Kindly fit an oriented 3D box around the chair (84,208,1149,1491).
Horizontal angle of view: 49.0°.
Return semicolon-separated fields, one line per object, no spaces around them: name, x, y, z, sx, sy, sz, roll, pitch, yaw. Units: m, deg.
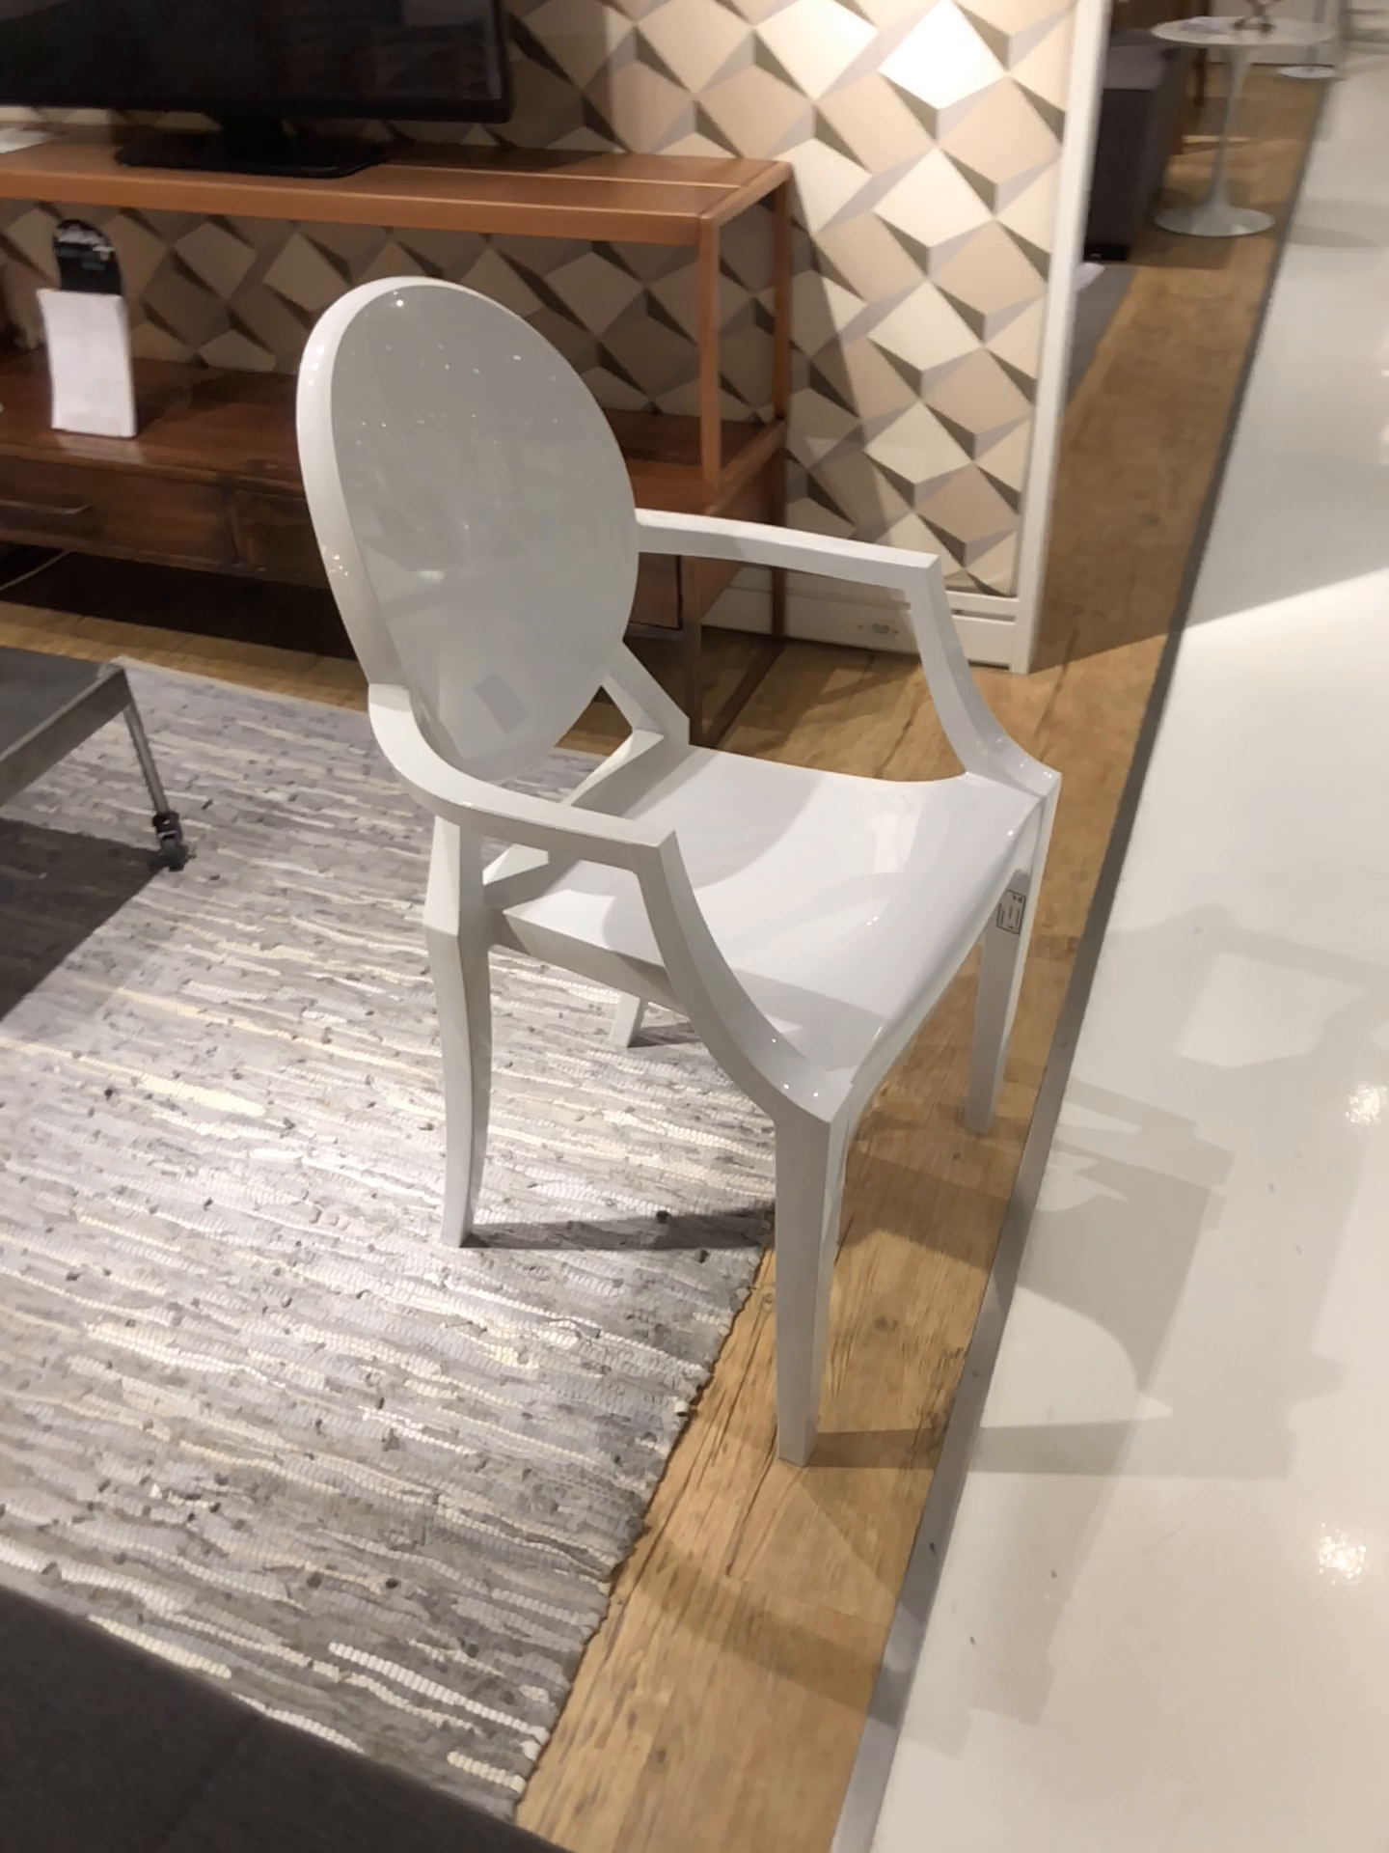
chair;-0.011;-0.078;1.301;0.551;0.843;0.513;16;41;23
